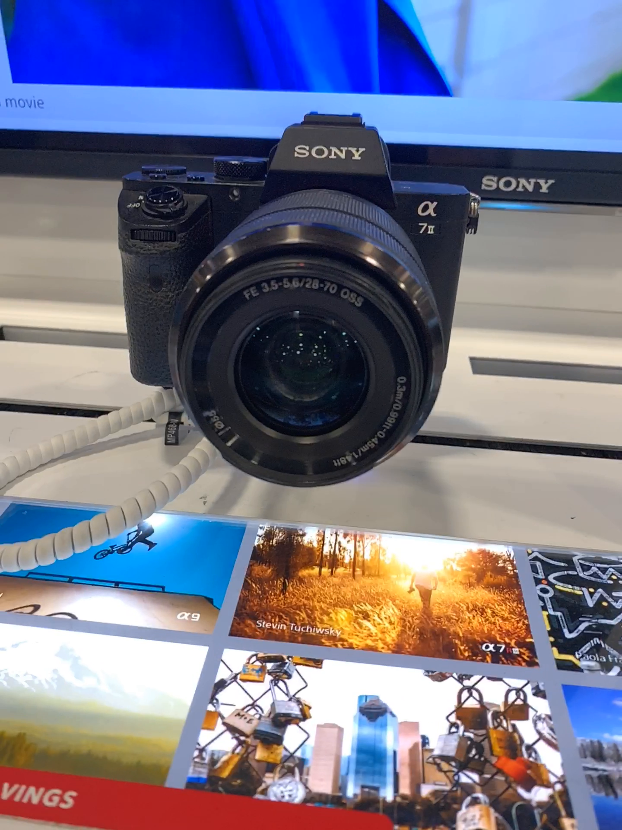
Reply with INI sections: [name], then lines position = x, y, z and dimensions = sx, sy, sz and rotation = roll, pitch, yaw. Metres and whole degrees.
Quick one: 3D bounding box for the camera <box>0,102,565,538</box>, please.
[camera]
position = -0.010, -0.046, 0.210
dimensions = 0.130, 0.090, 0.142
rotation = 3, 29, 5
